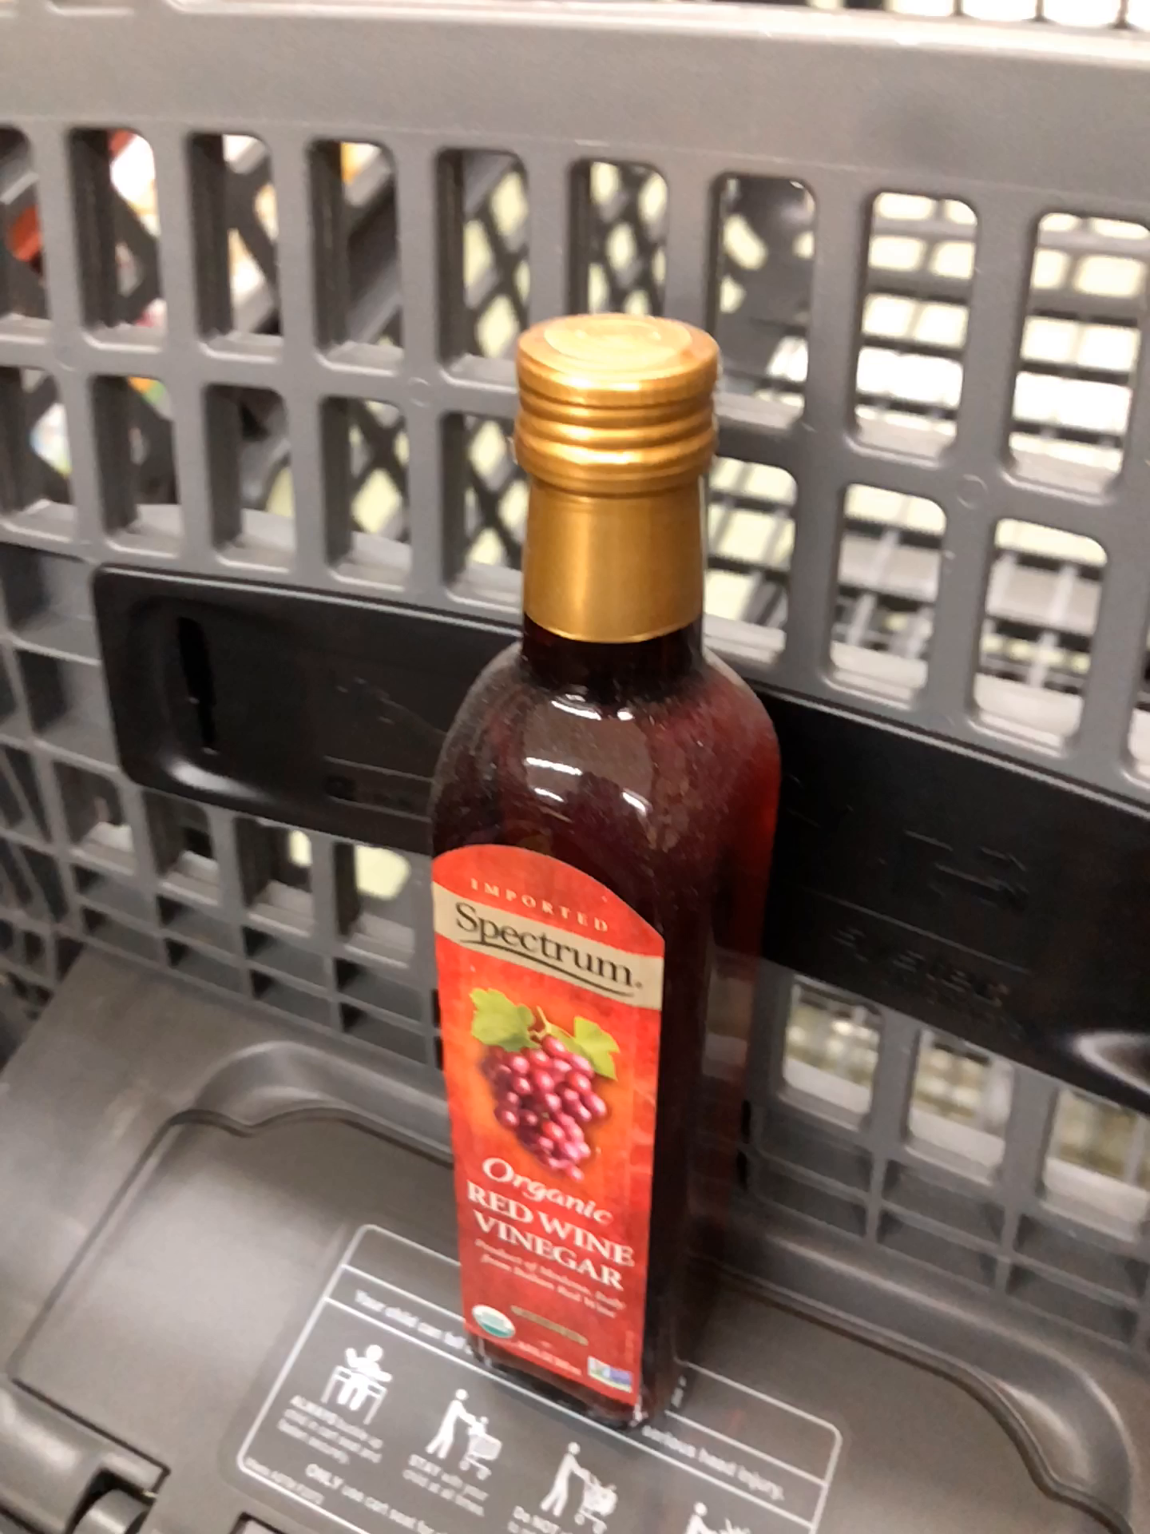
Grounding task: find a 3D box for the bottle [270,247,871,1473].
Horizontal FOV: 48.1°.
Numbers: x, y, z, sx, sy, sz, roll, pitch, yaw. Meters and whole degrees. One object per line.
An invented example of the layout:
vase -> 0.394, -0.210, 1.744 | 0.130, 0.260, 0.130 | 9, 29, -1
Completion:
bottle -> 0.004, 0.040, 0.280 | 0.070, 0.270, 0.070 | 0, 36, 0
